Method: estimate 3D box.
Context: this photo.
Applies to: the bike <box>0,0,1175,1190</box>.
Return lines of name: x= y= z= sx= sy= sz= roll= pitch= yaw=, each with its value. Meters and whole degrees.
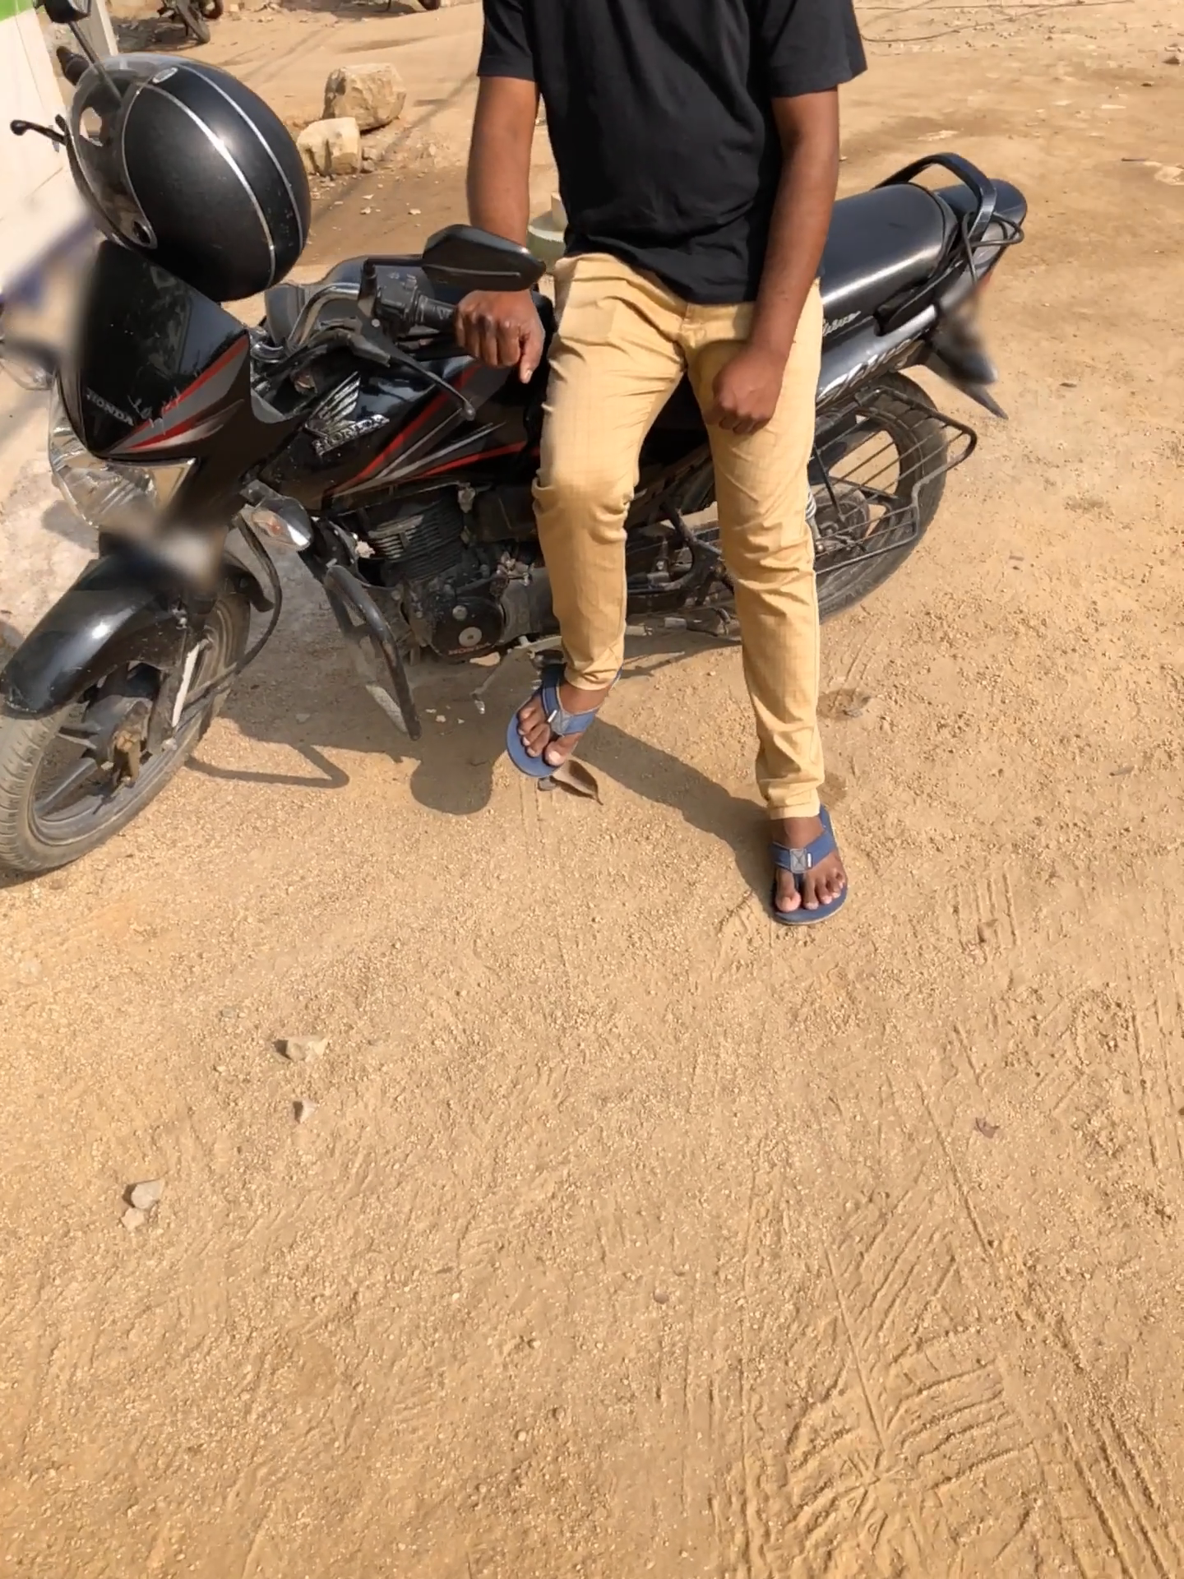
bike: x=-0.133 y=-0.495 z=1.949 sx=1.696 sy=1.214 sz=0.882 roll=-23 pitch=38 yaw=-21
